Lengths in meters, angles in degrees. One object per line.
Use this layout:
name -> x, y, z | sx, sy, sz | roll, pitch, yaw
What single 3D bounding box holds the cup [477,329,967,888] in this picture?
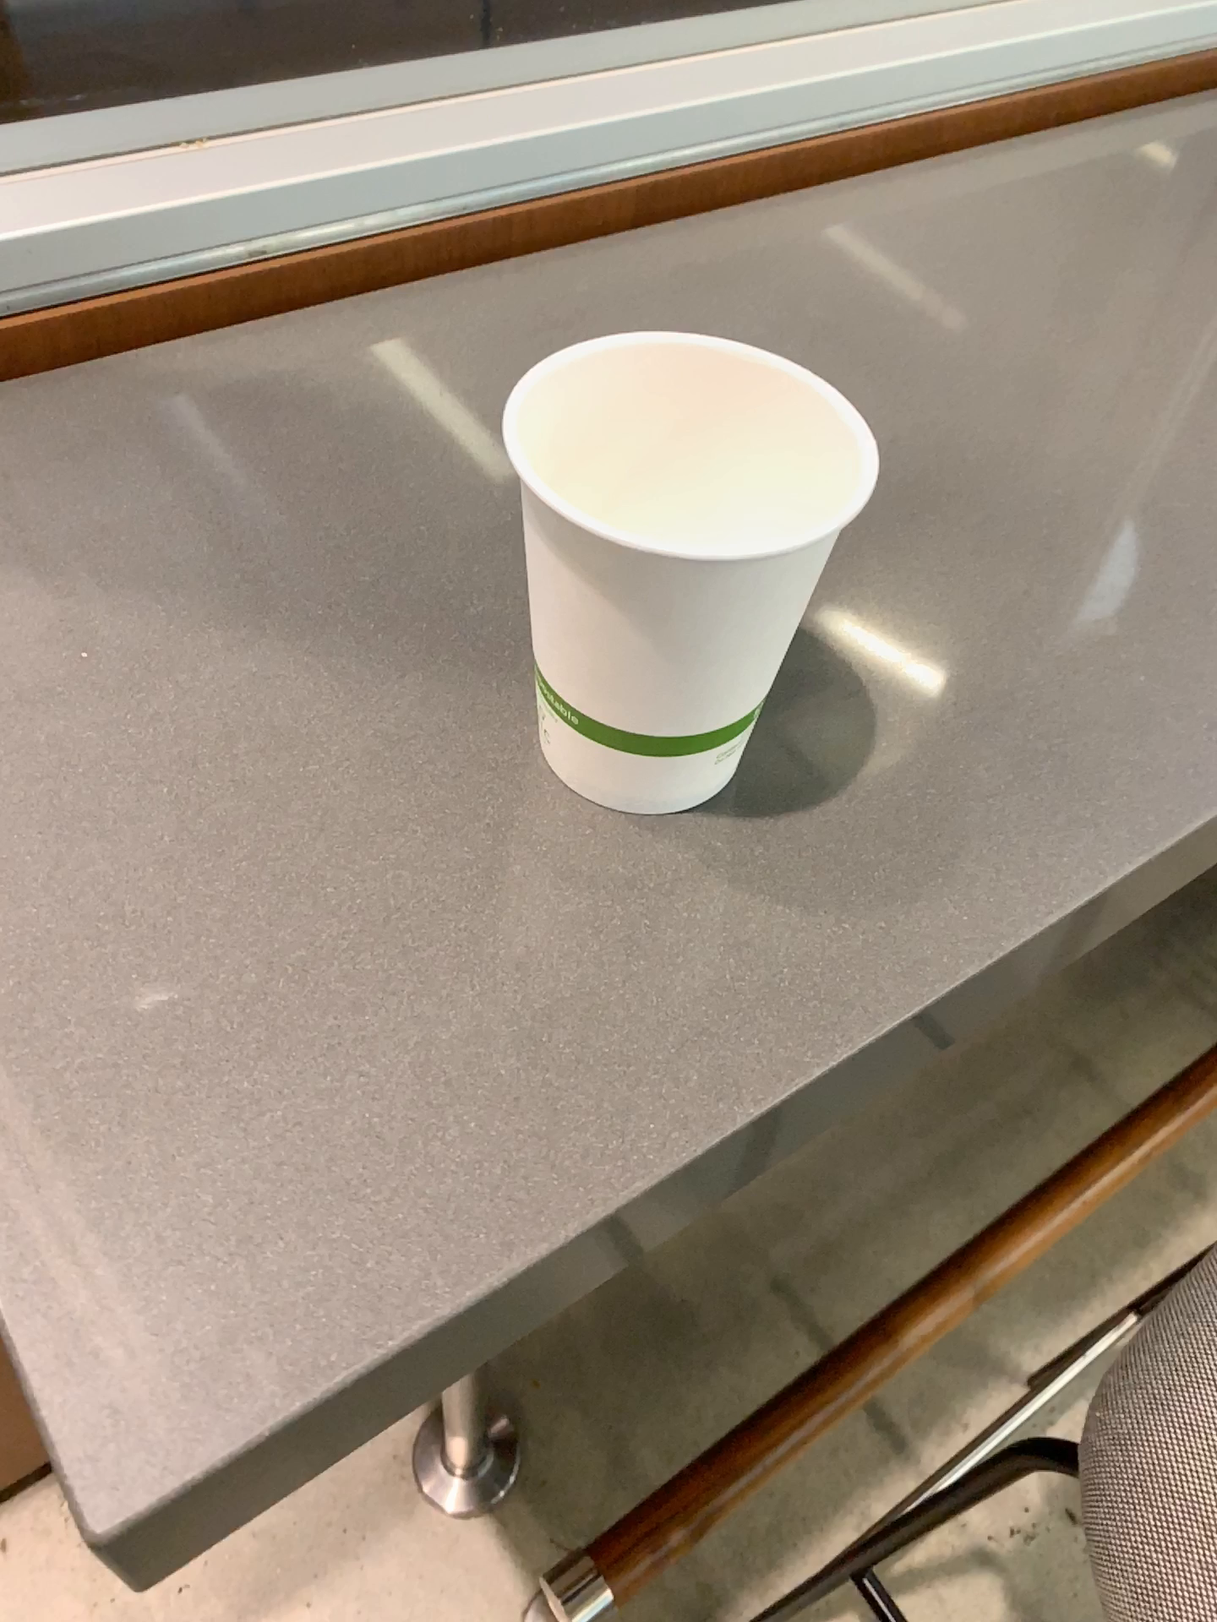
cup -> 0.017, -0.051, 0.317 | 0.090, 0.100, 0.090 | 3, 49, -4
